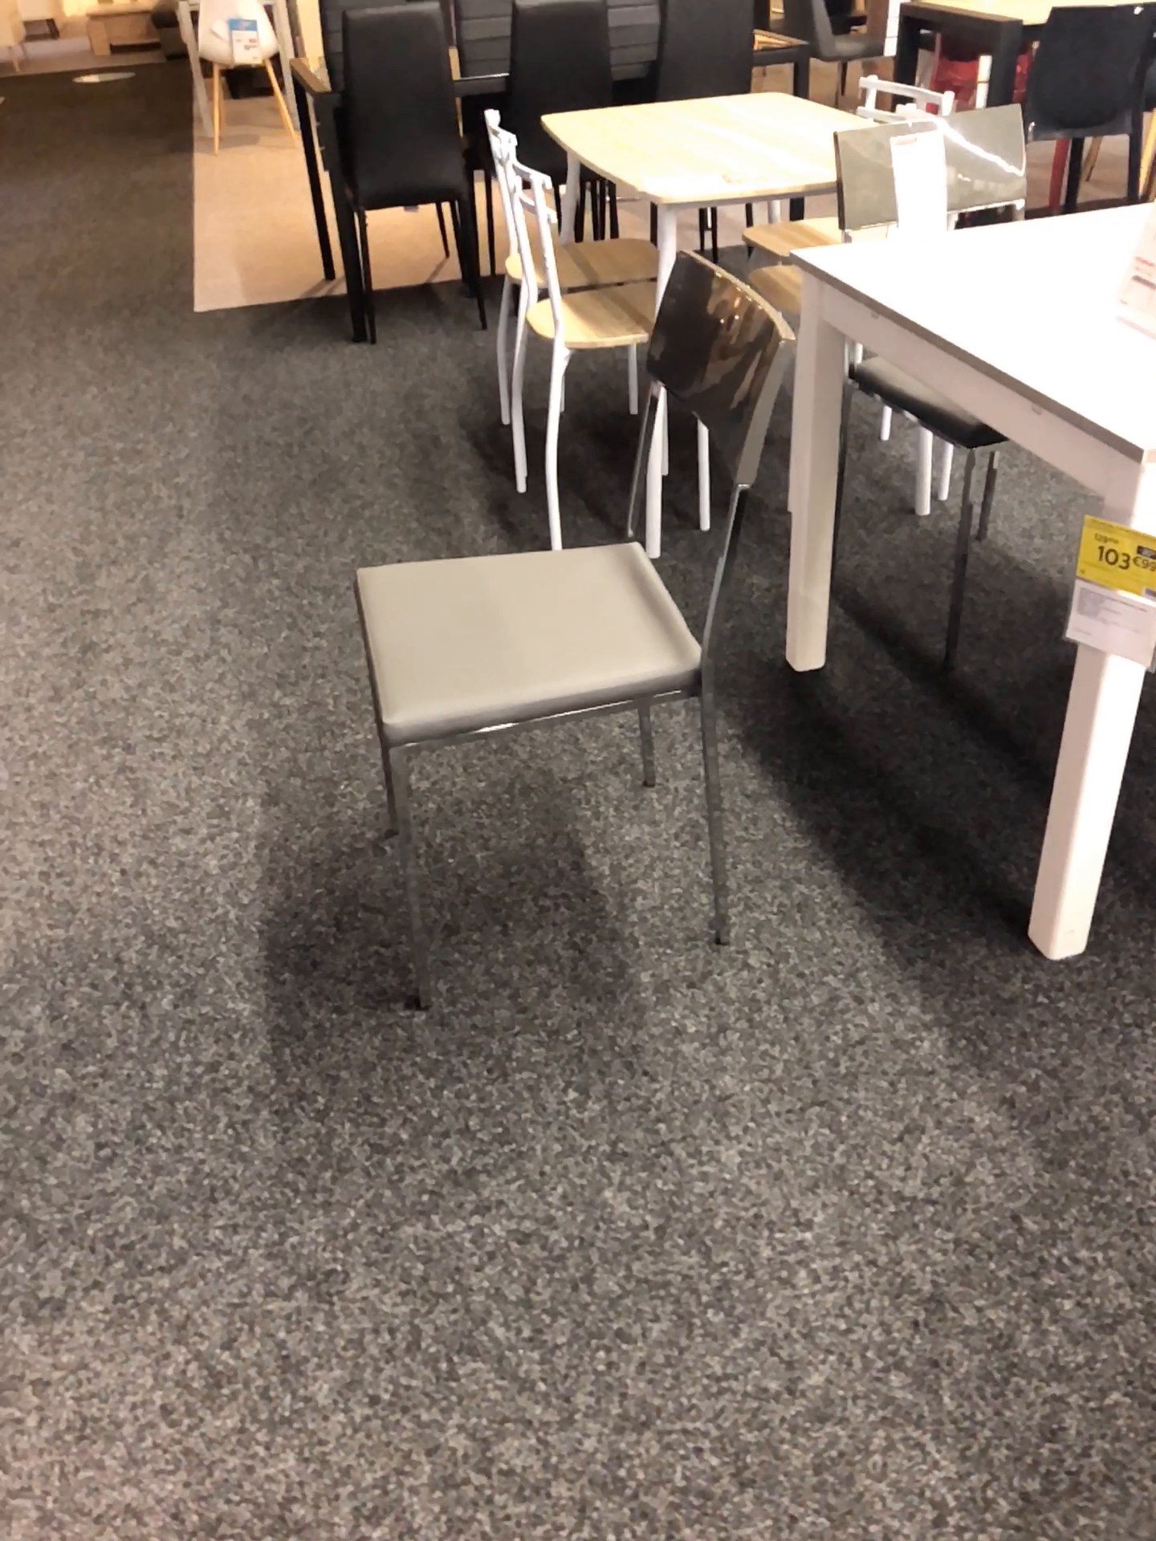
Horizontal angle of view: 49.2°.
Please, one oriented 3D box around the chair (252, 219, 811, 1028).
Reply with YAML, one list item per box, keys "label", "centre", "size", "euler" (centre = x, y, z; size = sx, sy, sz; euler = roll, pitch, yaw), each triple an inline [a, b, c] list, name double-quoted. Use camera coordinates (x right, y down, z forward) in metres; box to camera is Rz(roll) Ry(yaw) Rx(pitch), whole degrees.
- label: "chair"
  centre: [-0.063, -0.192, 1.661]
  size: [0.551, 0.855, 0.492]
  euler: [-10, 35, -8]
